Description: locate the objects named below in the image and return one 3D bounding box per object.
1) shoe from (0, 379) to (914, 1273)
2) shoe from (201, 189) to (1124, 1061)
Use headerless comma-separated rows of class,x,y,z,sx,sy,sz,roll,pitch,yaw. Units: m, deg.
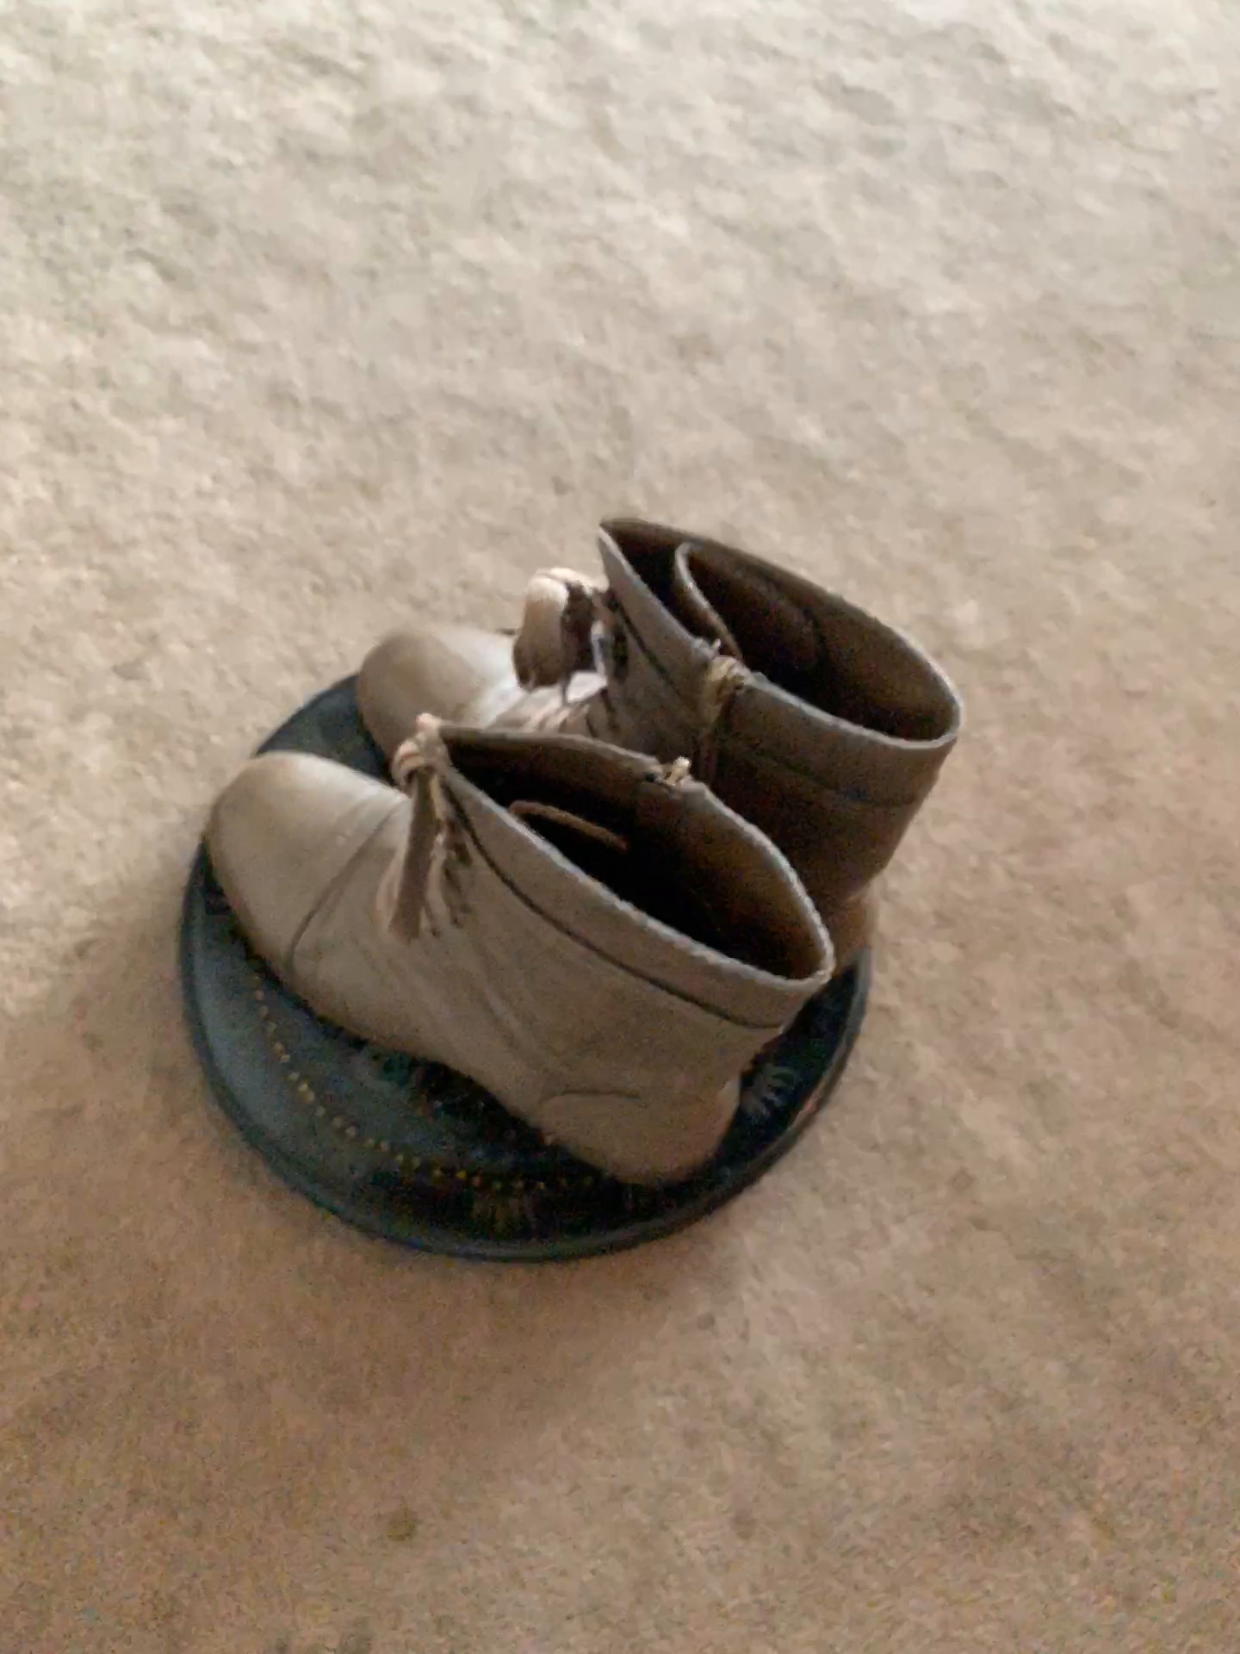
shoe,-0.063,0.015,0.438,0.260,0.199,0.100,35,67,12
shoe,0.003,-0.060,0.478,0.270,0.199,0.100,35,67,12
